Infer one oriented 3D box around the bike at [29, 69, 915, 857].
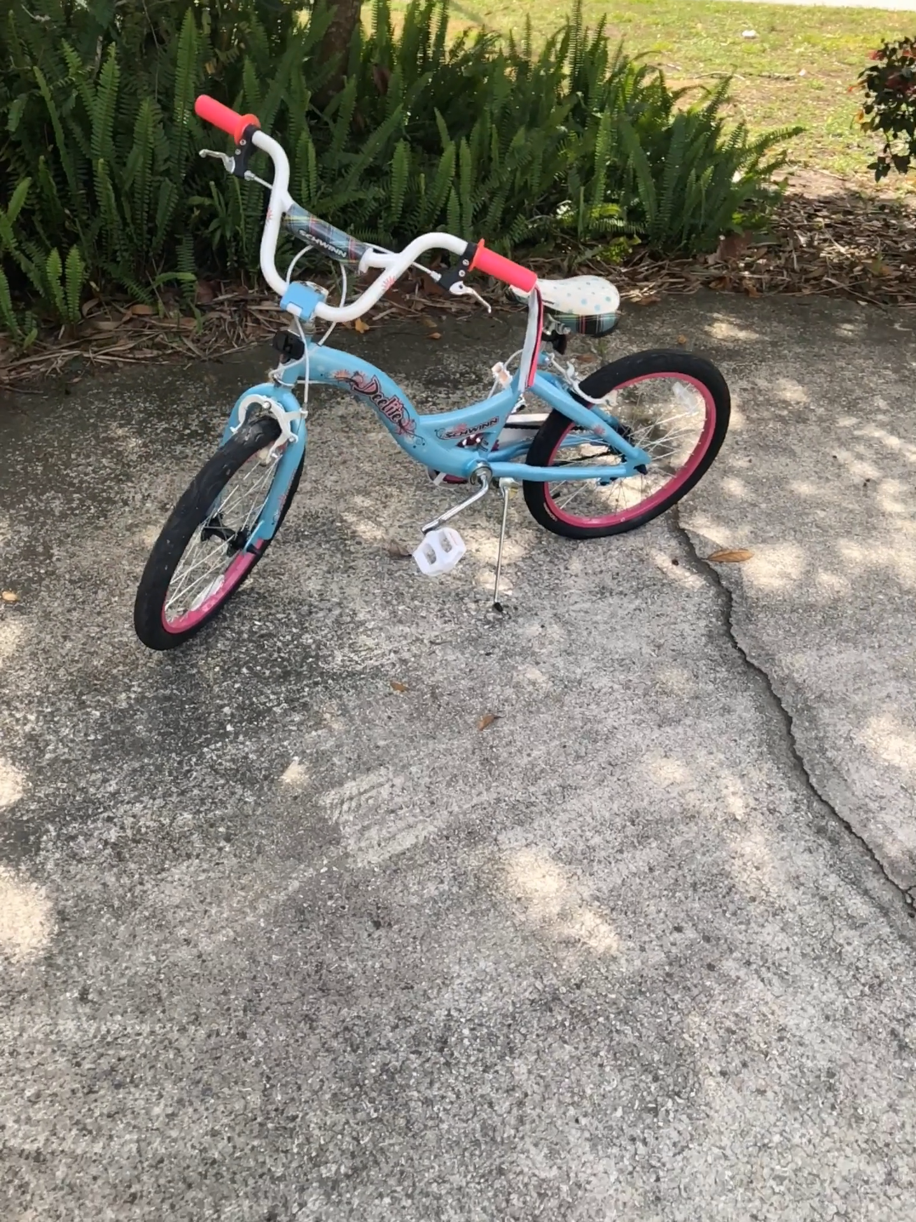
[{"bbox_3d":[0.057,-0.373,1.809,1.311,0.923,0.702,-18,42,-26],"label":"bike"}]
